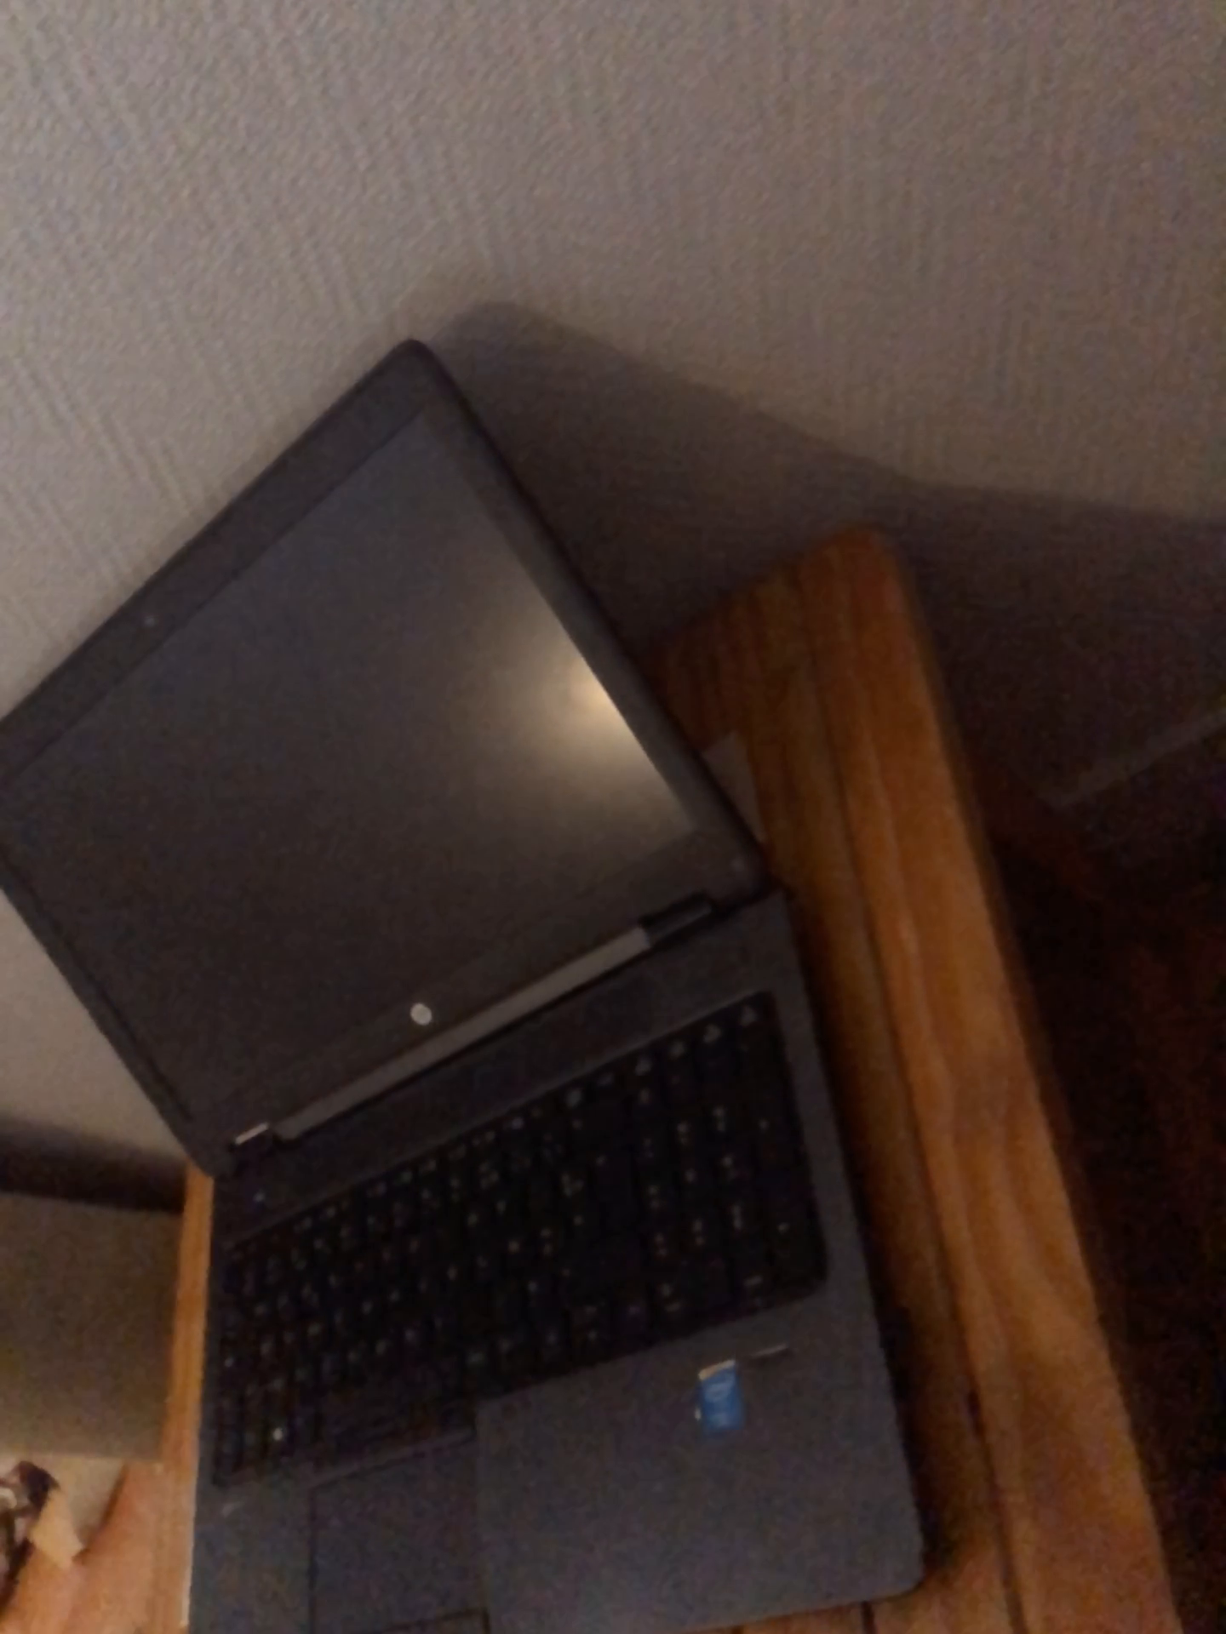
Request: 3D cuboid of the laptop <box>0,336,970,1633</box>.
[{"bbox_3d":[-0.120,0.105,0.566,0.383,0.195,0.410,-31,48,30],"label":"laptop"}]
